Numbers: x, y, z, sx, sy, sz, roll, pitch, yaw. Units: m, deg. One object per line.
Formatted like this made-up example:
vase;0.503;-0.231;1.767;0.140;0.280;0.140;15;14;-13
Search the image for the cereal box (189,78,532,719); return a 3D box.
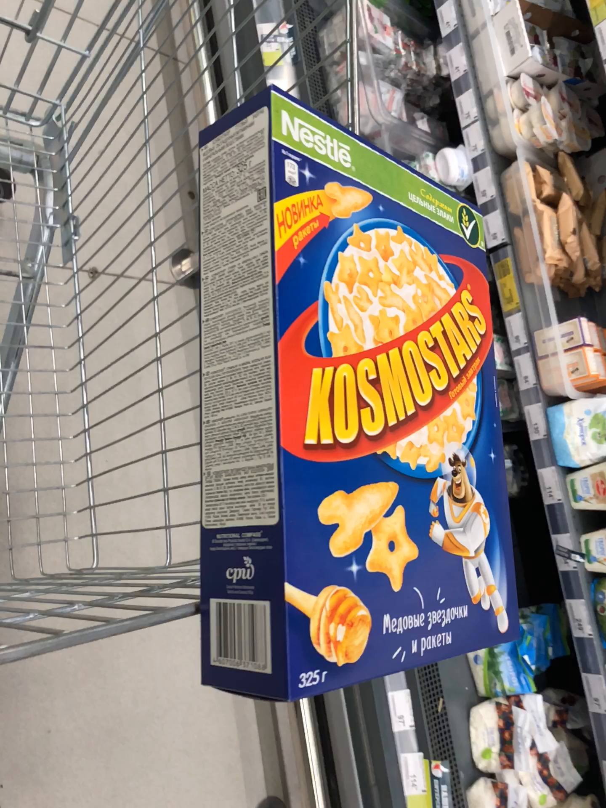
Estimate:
cereal box;0.037;0.000;0.375;0.201;0.060;0.280;9;74;-43
